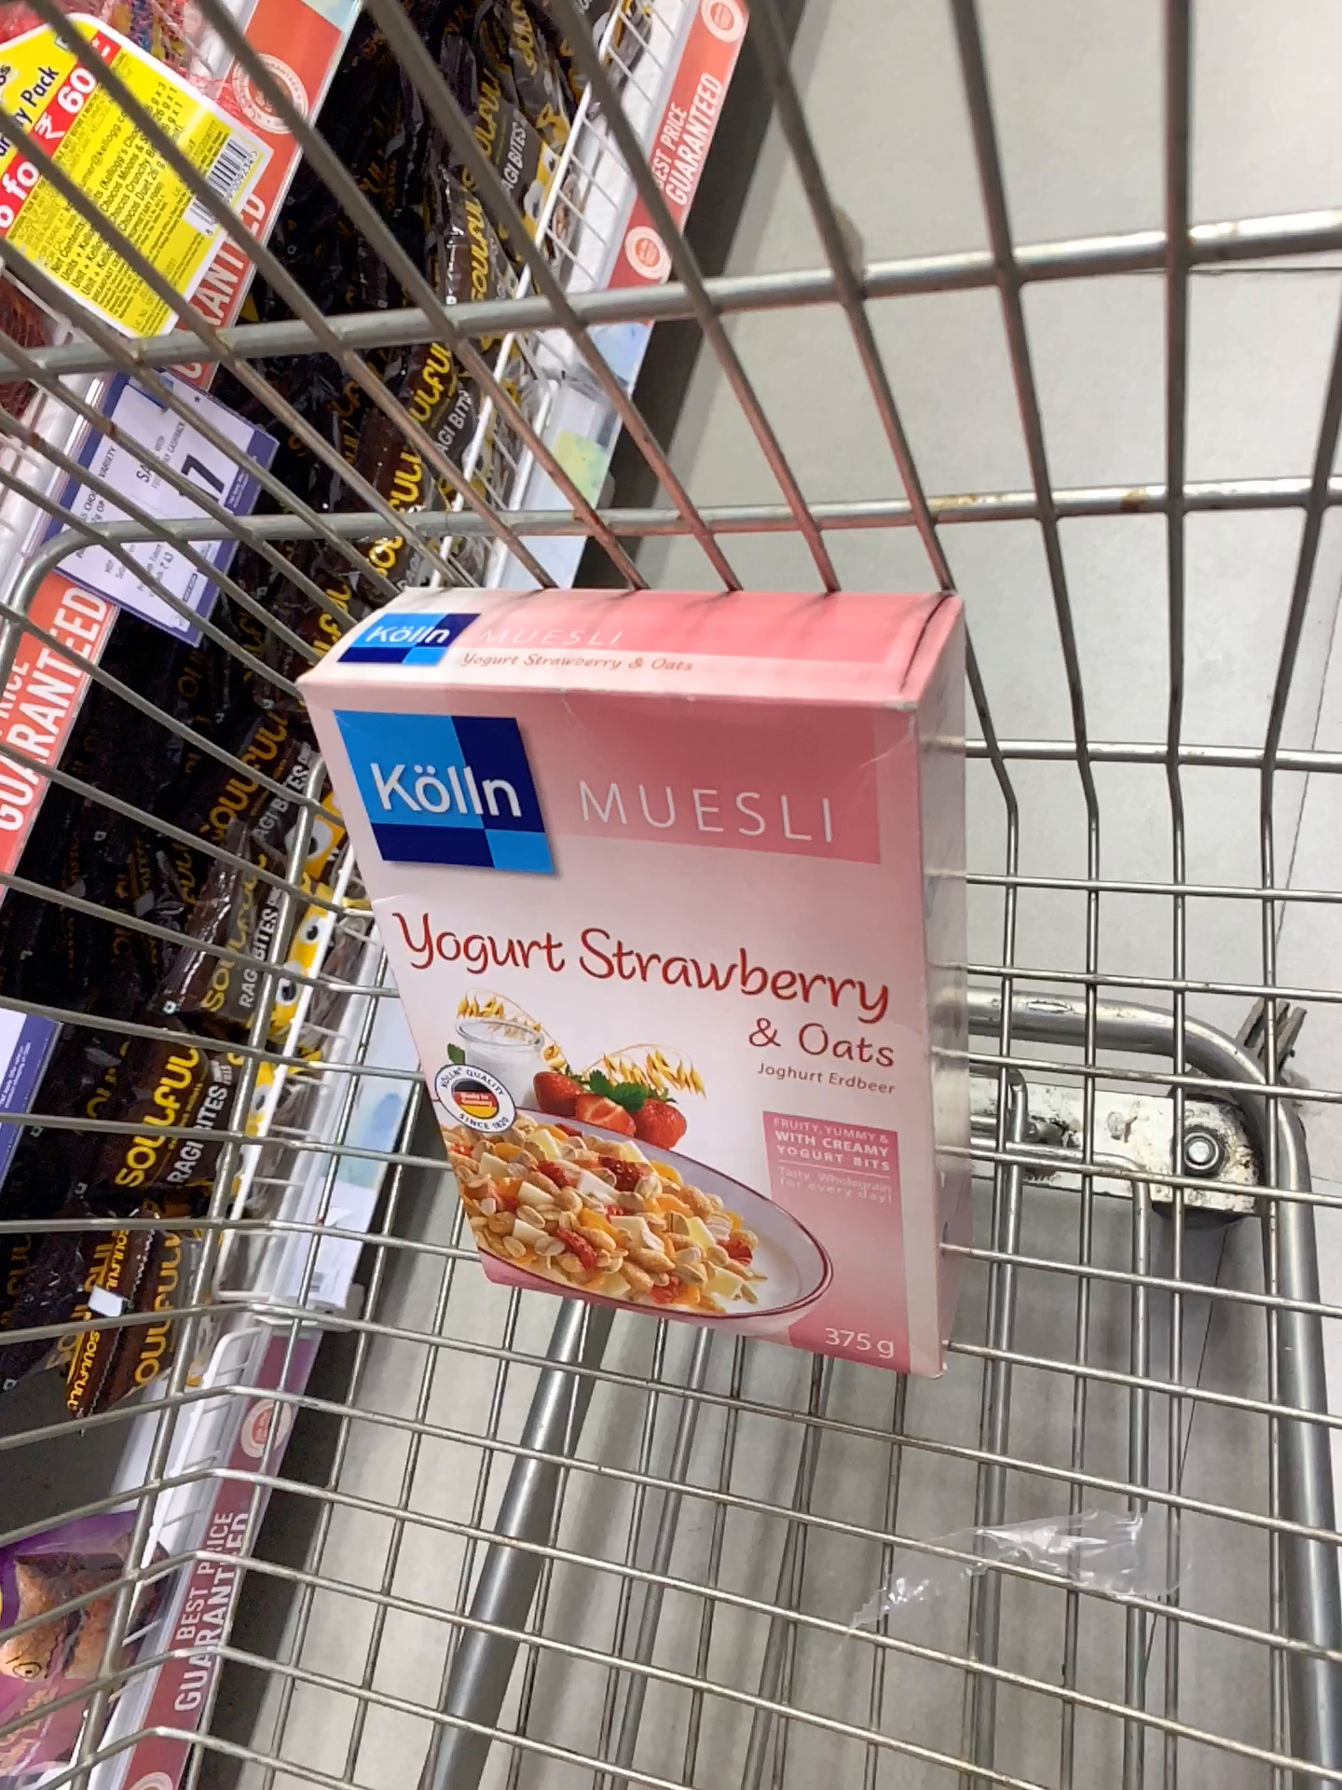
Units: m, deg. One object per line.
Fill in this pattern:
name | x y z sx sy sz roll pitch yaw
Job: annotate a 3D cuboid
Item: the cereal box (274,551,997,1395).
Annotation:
cereal box | 0.004 0.026 0.360 0.150 0.220 0.050 5 36 21
